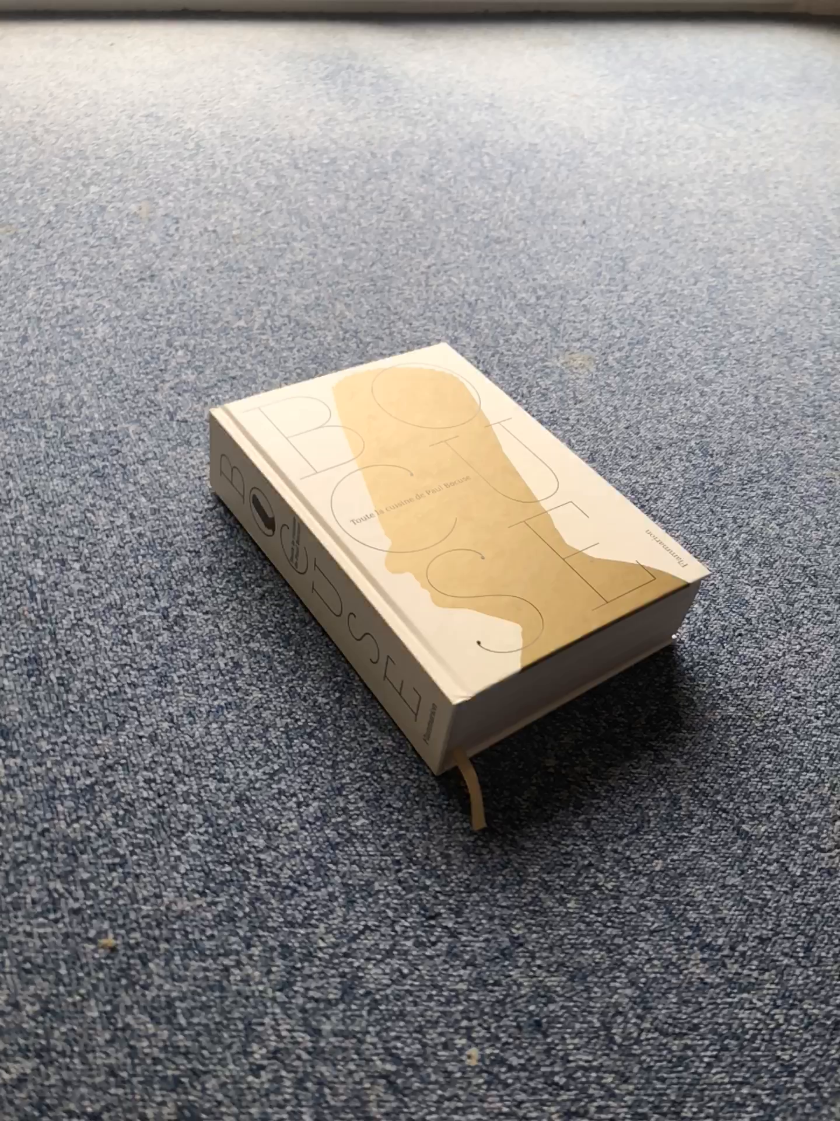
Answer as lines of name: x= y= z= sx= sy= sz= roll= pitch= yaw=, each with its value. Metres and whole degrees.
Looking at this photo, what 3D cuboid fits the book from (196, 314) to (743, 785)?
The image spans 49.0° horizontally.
book: x=0.016 y=-0.032 z=0.574 sx=0.201 sy=0.079 sz=0.280 roll=-22 pitch=51 yaw=-28
